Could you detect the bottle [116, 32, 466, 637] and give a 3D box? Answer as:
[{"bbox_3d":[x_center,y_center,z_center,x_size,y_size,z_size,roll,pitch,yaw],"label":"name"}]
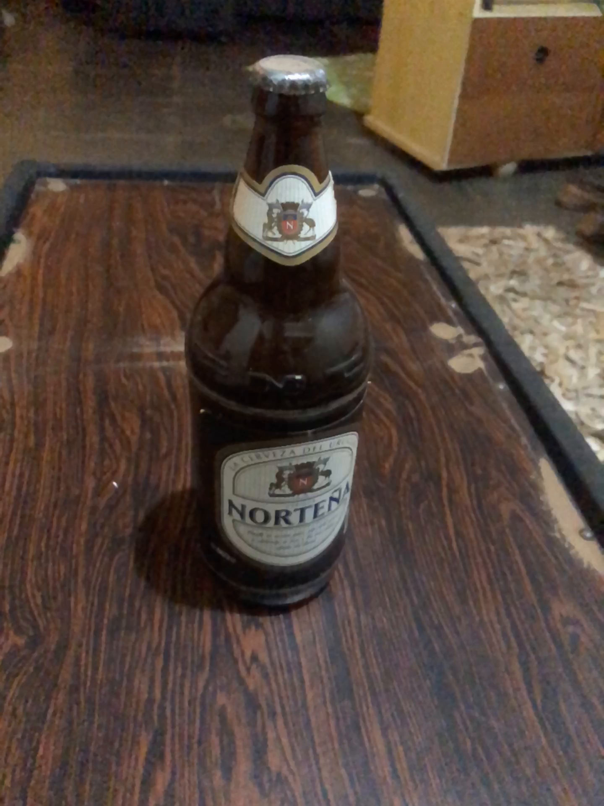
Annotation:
[{"bbox_3d":[-0.017,-0.020,0.328,0.100,0.268,0.101,3,38,-2],"label":"bottle"}]
